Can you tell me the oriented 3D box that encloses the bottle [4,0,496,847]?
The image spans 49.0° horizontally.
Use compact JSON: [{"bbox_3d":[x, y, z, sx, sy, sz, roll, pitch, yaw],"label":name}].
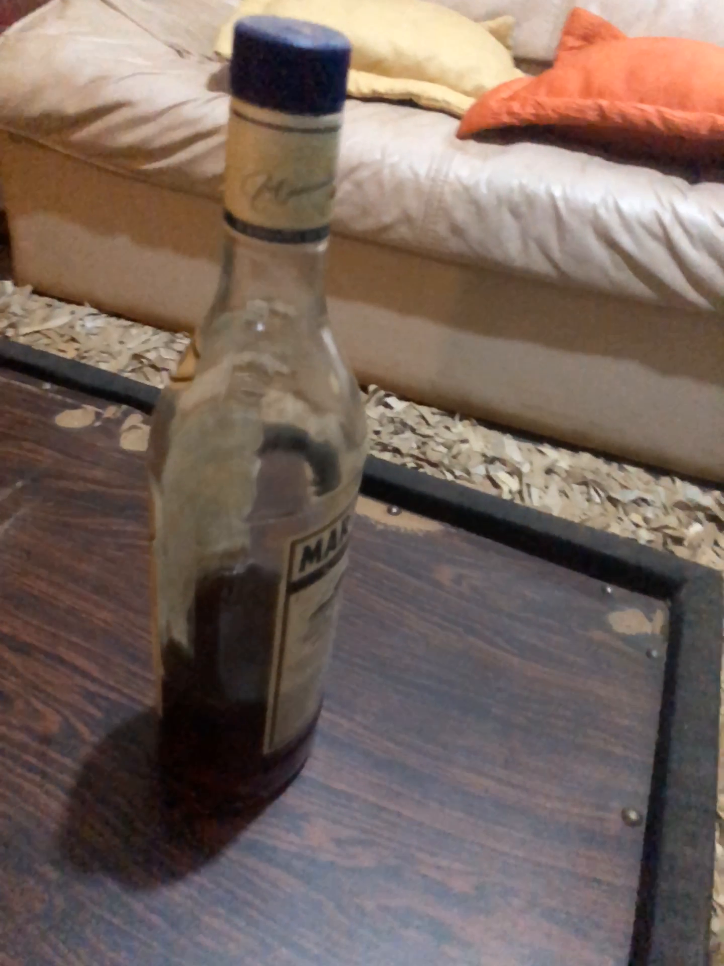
[{"bbox_3d":[-0.038,-0.006,0.300,0.090,0.298,0.101,21,38,18],"label":"bottle"}]
